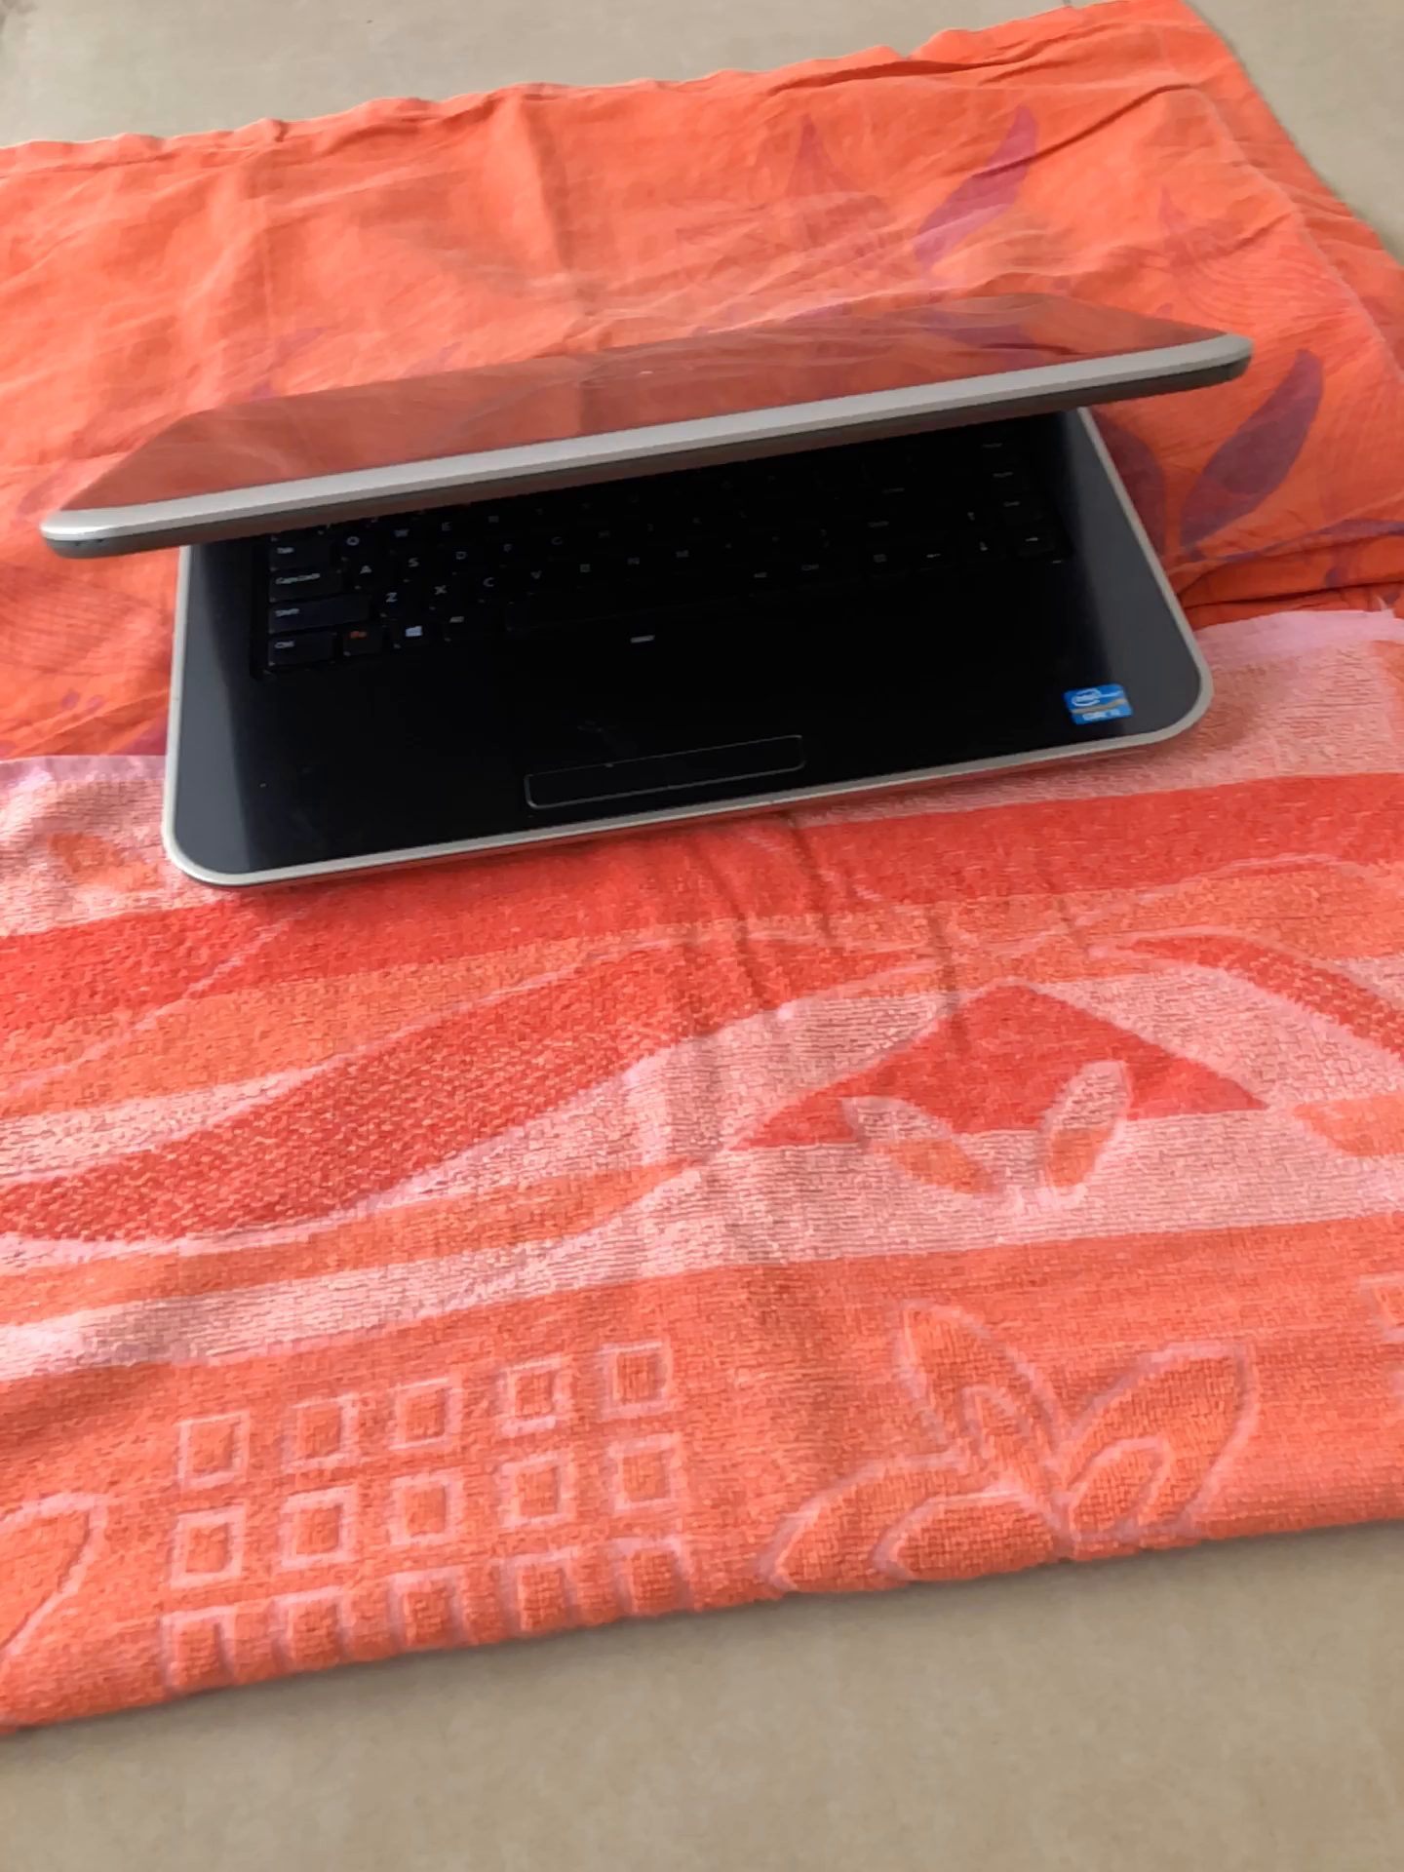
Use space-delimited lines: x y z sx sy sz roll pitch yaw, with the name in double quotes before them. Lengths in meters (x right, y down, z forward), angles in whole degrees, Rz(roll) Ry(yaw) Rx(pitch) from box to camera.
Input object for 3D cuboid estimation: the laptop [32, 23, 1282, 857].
"laptop" -0.024 -0.183 0.546 0.345 0.129 0.242 -9 55 -3
